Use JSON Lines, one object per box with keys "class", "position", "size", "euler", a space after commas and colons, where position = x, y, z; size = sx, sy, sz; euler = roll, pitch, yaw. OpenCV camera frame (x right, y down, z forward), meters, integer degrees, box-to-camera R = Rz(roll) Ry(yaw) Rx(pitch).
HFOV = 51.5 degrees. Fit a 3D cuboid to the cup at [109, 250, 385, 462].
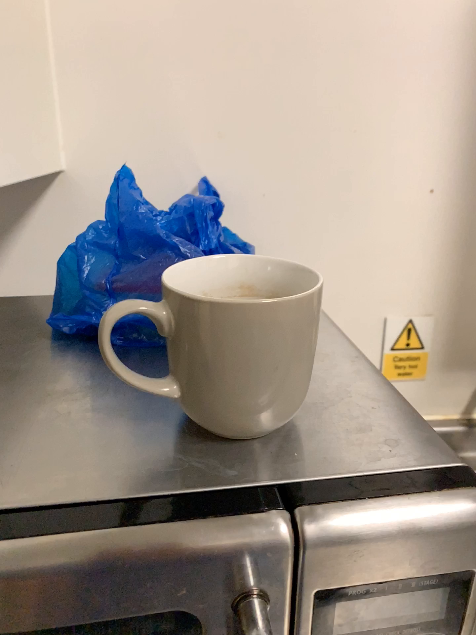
{"class": "cup", "position": [-0.001, 0.014, 0.284], "size": [0.129, 0.077, 0.094], "euler": [-4, 22, -9]}
